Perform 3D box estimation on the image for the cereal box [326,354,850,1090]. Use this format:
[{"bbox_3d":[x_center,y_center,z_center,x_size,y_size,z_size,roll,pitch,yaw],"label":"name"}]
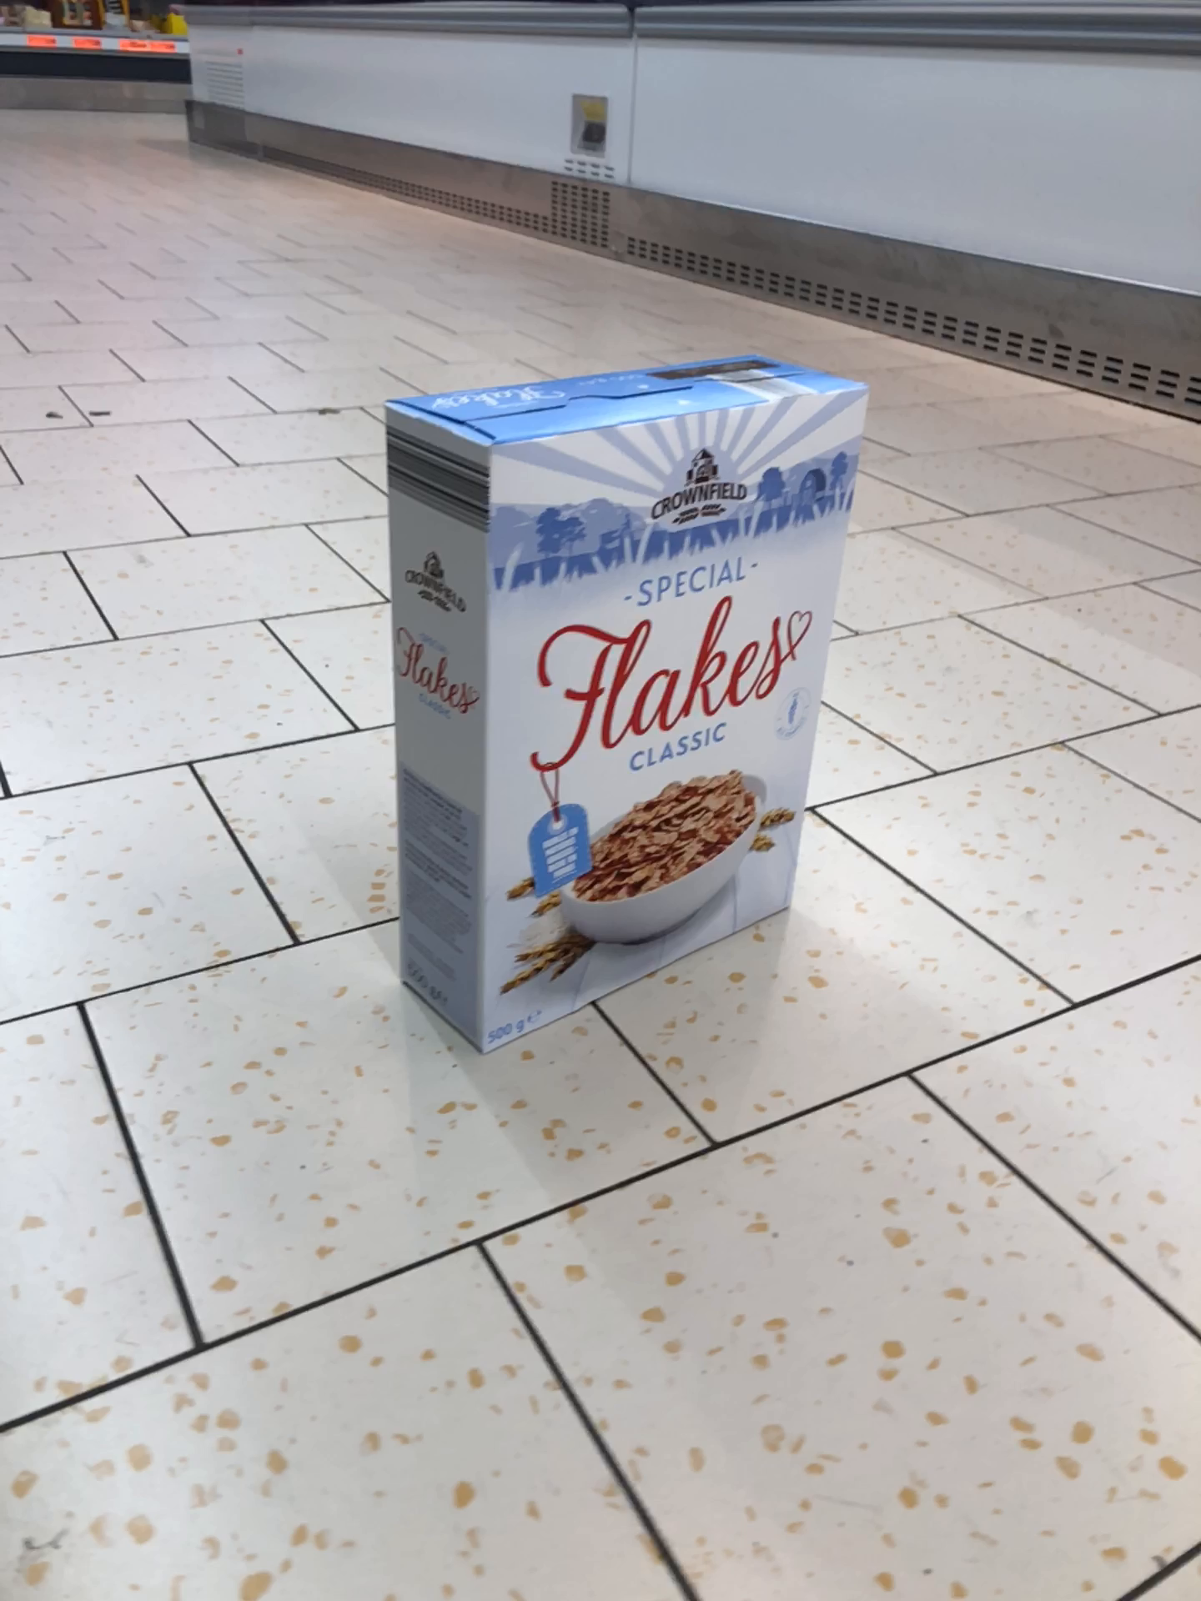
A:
[{"bbox_3d":[-0.005,-0.039,0.565,0.201,0.268,0.070,-19,35,-35],"label":"cereal box"}]
